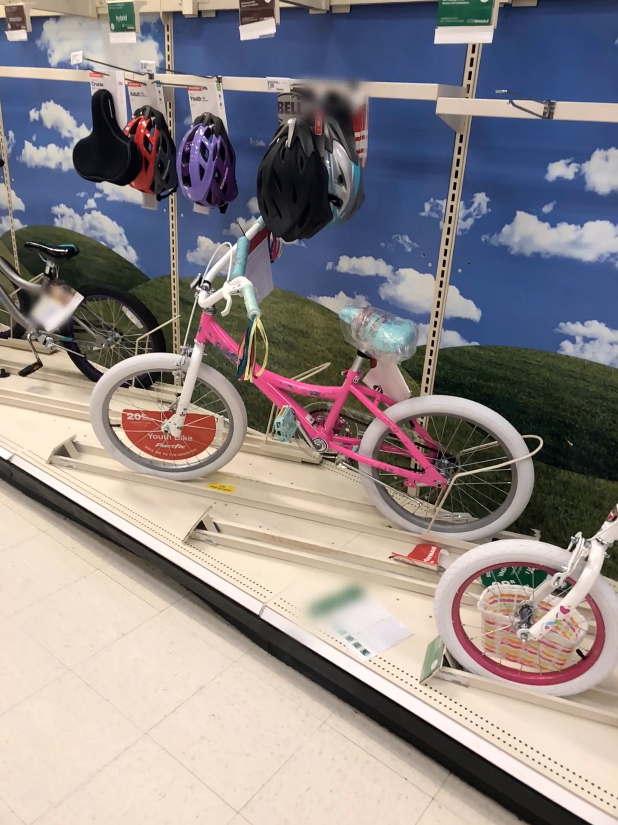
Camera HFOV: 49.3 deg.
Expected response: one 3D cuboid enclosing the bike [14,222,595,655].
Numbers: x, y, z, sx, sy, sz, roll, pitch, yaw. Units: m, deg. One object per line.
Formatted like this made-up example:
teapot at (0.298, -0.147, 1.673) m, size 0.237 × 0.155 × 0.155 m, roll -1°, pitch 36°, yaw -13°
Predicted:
bike at (-0.021, -0.032, 1.982) m, size 1.346 × 0.882 × 0.730 m, roll 8°, pitch 24°, yaw 15°
